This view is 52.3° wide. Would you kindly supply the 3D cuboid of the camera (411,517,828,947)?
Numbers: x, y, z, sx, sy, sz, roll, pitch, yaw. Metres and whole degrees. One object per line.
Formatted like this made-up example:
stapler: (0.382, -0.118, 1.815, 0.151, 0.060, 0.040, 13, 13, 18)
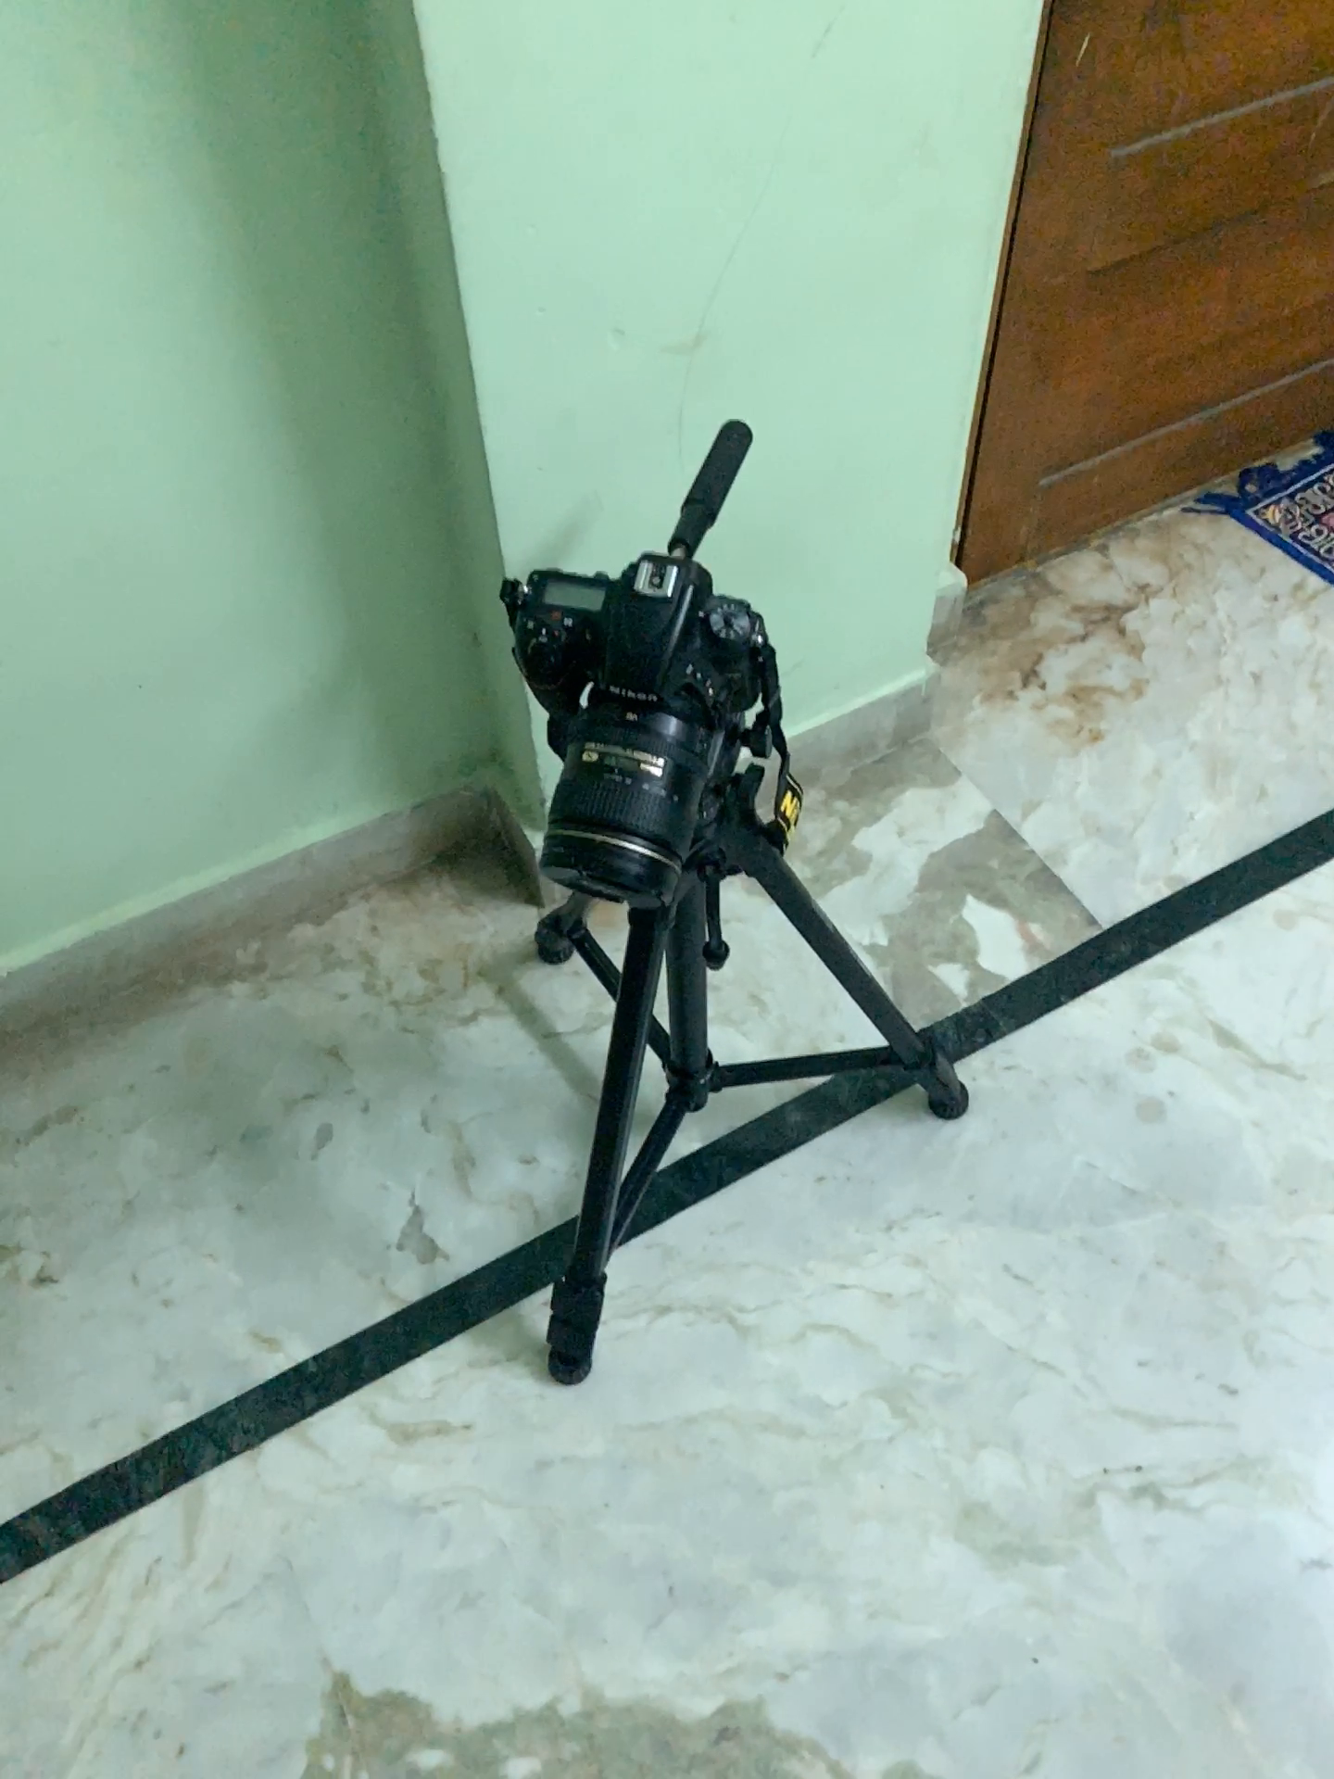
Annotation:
camera: (-0.019, -0.085, 0.754, 0.170, 0.110, 0.180, 14, 79, 12)
